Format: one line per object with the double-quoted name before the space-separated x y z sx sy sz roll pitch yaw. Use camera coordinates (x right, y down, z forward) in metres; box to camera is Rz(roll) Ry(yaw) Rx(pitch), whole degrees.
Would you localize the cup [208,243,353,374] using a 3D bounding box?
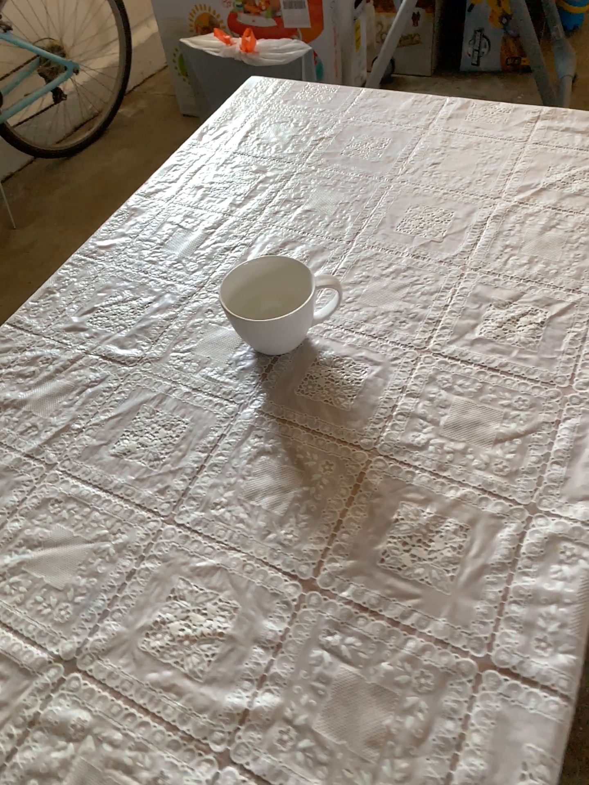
"cup" -0.016 -0.093 0.665 0.140 0.070 0.100 -11 52 -1
